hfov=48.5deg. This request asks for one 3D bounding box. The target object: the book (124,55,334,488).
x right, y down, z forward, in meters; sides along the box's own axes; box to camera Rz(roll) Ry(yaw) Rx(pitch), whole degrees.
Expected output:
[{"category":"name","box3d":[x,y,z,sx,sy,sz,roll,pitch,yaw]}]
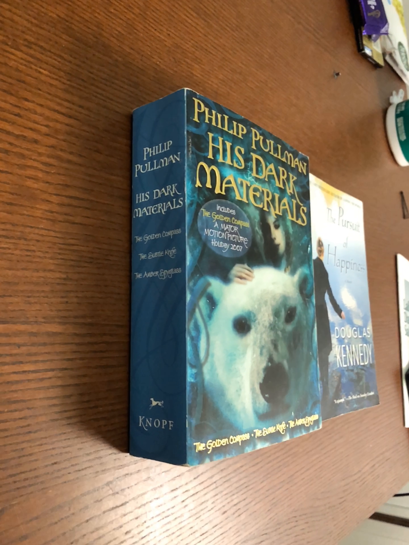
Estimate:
[{"category":"book","box3d":[0.027,0.002,0.343,0.181,0.050,0.250,9,76,-49]}]

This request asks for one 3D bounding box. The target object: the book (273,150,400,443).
[{"category":"book","box3d":[0.141,0.026,0.467,0.181,0.040,0.250,9,76,-49]}]
